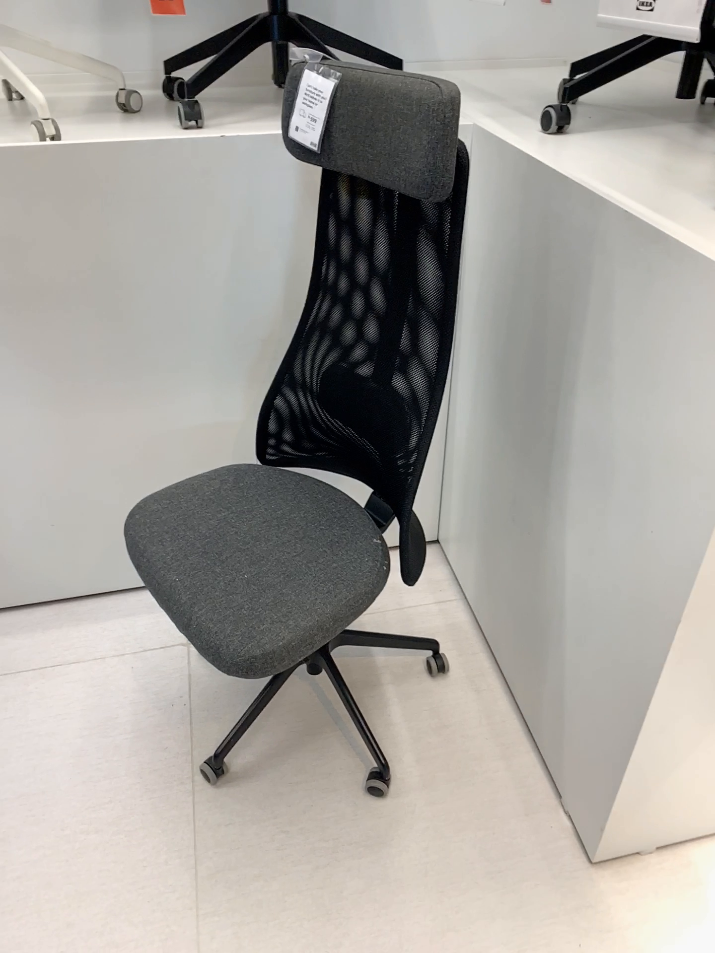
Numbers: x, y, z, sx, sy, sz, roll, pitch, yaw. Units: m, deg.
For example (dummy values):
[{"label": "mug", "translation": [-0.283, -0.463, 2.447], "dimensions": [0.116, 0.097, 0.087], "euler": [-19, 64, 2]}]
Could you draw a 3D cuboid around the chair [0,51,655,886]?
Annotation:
[{"label": "chair", "translation": [-0.085, -0.017, 1.362], "dimensions": [0.671, 1.264, 0.662], "euler": [-20, 40, -25]}]
